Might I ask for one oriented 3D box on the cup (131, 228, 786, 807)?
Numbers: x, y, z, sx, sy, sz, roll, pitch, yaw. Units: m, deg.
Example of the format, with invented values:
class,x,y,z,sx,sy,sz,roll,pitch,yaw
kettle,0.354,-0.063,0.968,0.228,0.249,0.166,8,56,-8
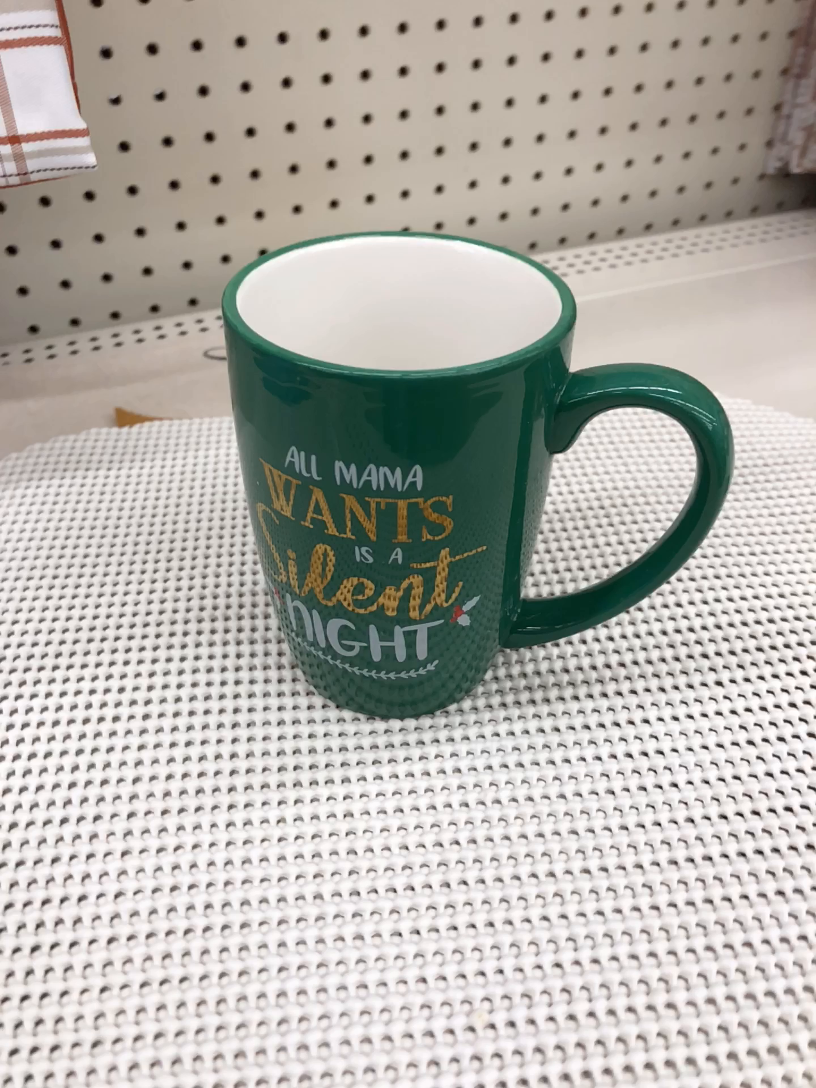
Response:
class,x,y,z,sx,sy,sz,roll,pitch,yaw
cup,0.019,-0.014,0.262,0.140,0.110,0.100,9,38,13
